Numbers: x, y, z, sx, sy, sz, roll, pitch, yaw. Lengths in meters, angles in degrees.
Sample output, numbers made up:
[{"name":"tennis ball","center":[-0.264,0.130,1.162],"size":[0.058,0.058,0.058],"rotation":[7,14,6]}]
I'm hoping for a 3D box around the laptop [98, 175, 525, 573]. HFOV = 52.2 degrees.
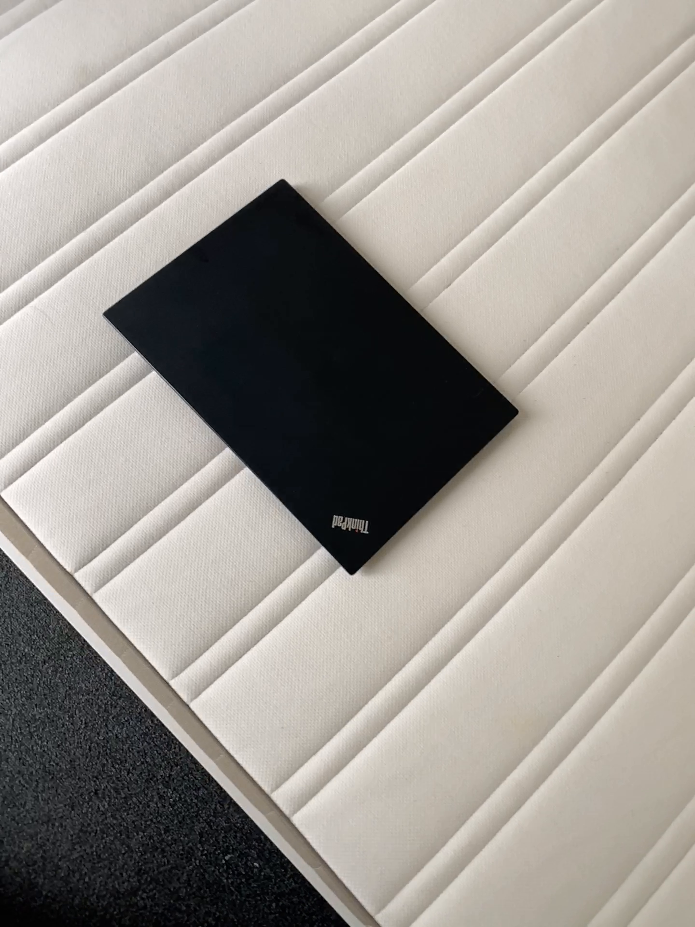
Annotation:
[{"name":"laptop","center":[-0.028,-0.095,0.652],"size":[0.225,0.012,0.325],"rotation":[-43,84,-18]}]
